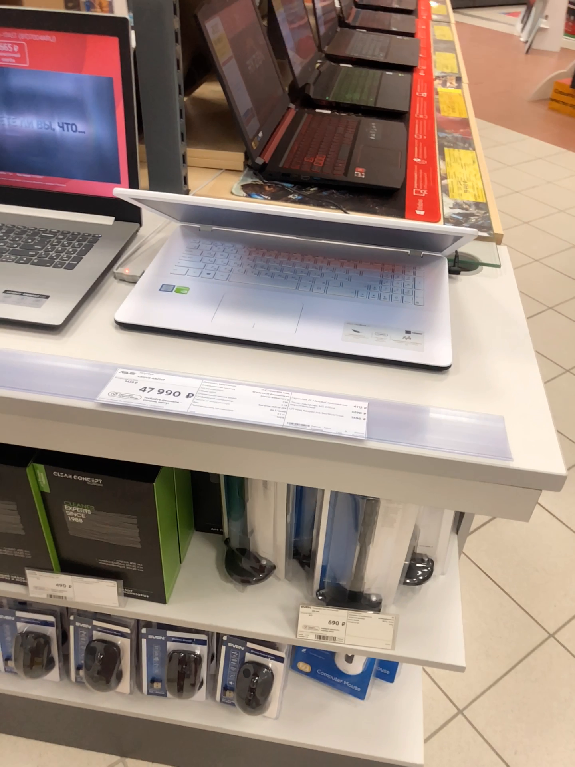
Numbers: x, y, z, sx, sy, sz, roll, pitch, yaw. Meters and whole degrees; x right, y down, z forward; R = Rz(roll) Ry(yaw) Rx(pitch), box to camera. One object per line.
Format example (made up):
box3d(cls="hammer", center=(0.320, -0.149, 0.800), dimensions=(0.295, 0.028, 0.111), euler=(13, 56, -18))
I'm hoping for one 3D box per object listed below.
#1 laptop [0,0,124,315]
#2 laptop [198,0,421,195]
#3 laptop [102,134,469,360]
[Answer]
box3d(cls="laptop", center=(-0.455, -0.314, 0.805), dimensions=(0.391, 0.262, 0.338), euler=(6, 38, 3))
box3d(cls="laptop", center=(0.048, -0.578, 1.190), dimensions=(0.365, 0.220, 0.379), euler=(11, 41, 9))
box3d(cls="laptop", center=(0.011, -0.187, 0.809), dimensions=(0.390, 0.142, 0.258), euler=(8, 38, 3))
